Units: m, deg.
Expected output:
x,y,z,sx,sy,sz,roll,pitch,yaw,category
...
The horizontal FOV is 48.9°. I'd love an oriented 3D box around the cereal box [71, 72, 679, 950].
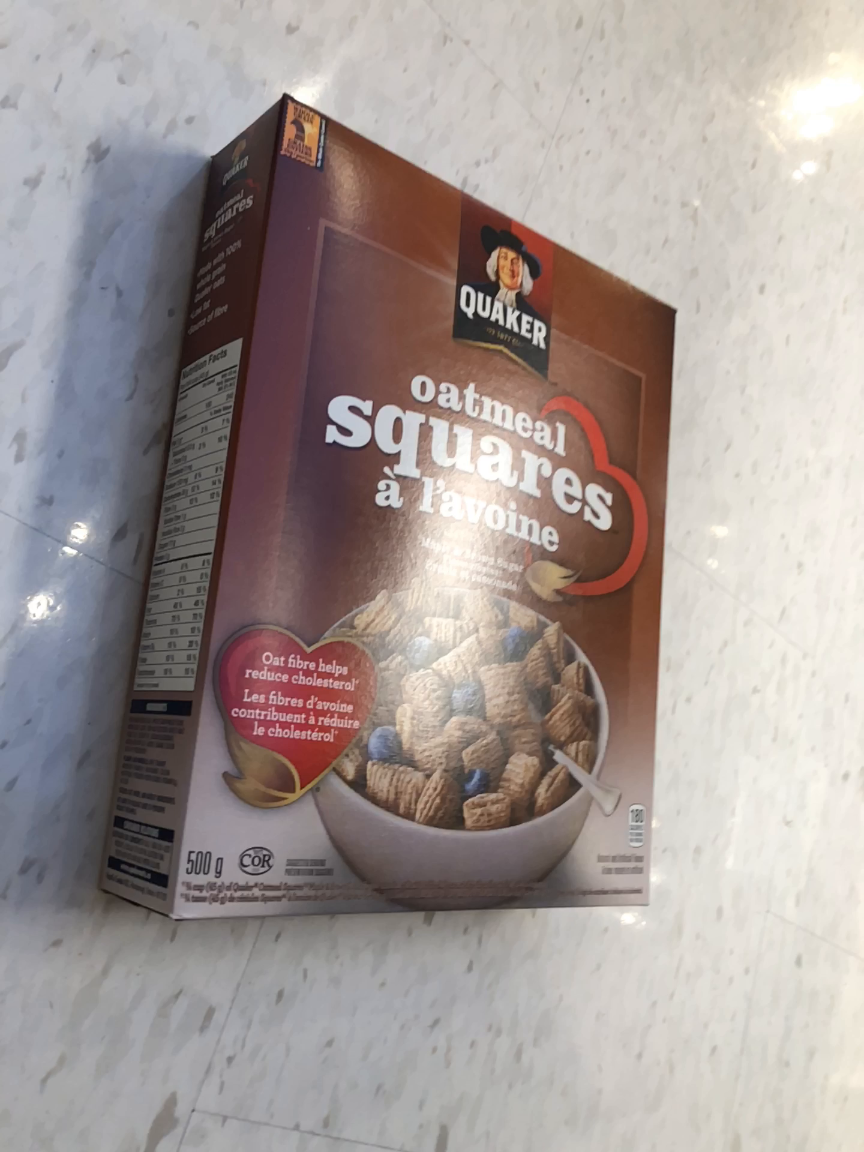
x,y,z,sx,sy,sz,roll,pitch,yaw,category
-0.002,-0.008,0.372,0.211,0.070,0.270,14,76,-37,cereal box
